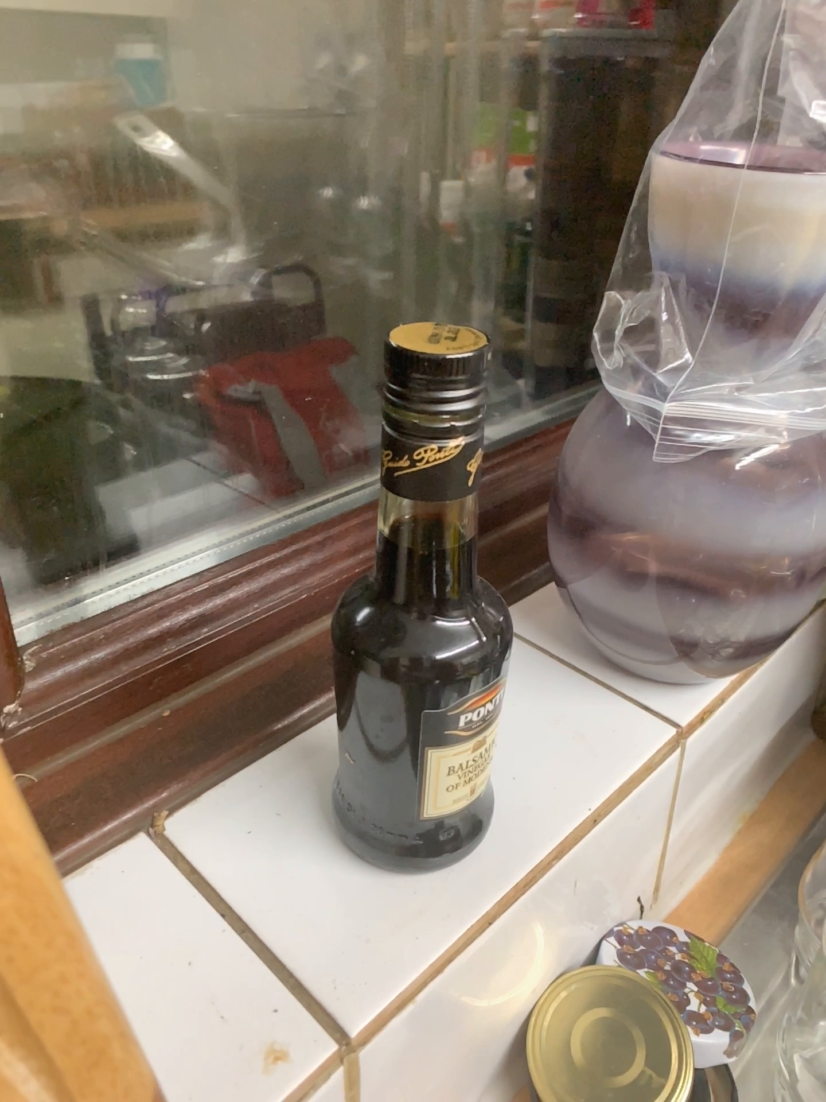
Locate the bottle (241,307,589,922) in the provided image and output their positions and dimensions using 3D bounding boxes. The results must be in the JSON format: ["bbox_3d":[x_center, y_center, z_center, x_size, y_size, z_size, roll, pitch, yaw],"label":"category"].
[{"bbox_3d":[-0.002,0.021,0.285,0.070,0.178,0.070,1,29,-1],"label":"bottle"}]
